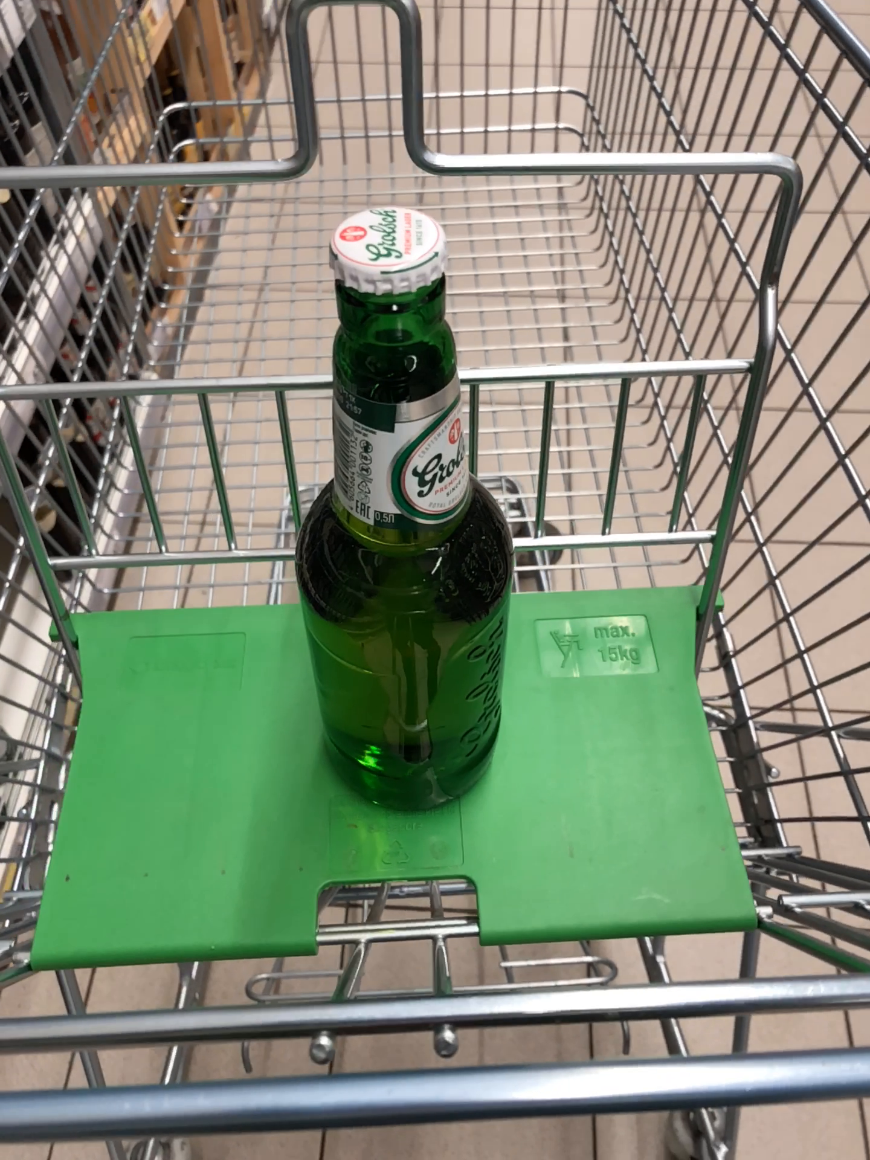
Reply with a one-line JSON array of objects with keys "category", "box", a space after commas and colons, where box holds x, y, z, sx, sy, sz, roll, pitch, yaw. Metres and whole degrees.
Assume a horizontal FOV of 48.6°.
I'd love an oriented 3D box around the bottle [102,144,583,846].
[{"category": "bottle", "box": [-0.017, -0.006, 0.308, 0.080, 0.219, 0.080, 0, 55, 1]}]
